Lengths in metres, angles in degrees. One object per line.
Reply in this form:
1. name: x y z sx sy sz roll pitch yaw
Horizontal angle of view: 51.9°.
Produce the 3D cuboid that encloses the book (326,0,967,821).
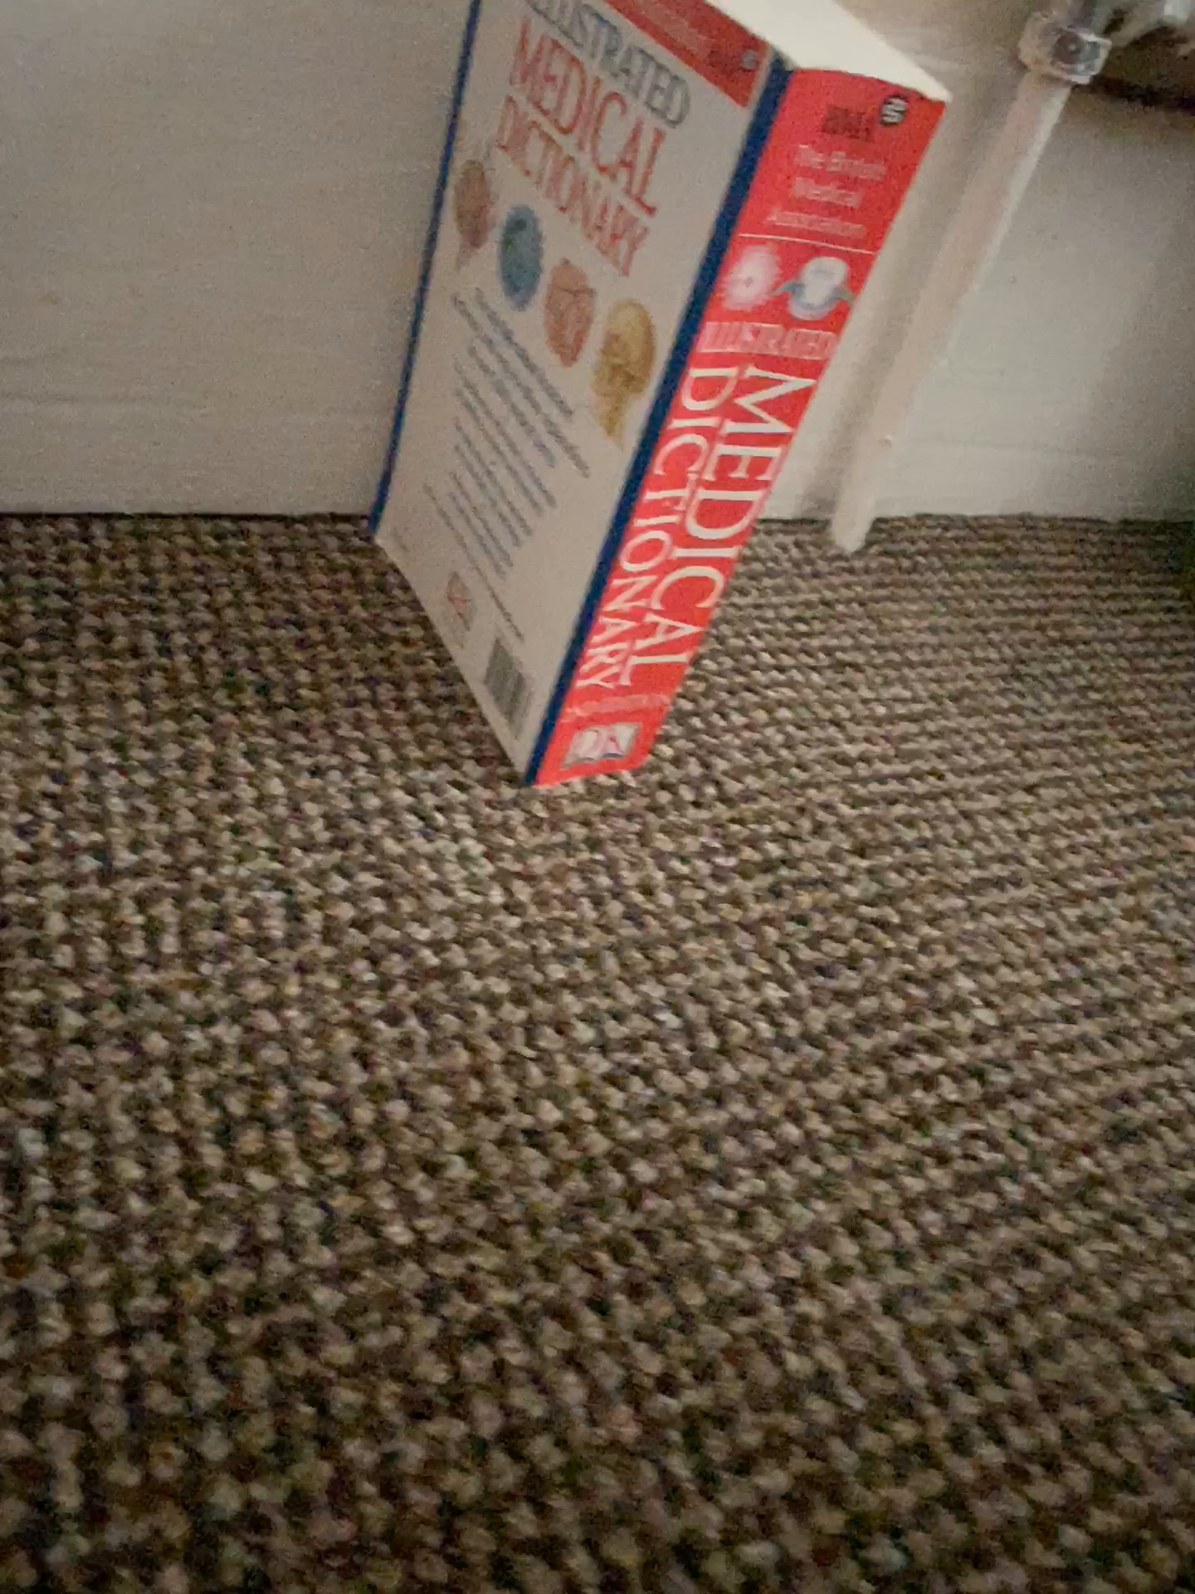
1. book: -0.014 -0.134 0.354 0.060 0.198 0.191 -6 47 -27
